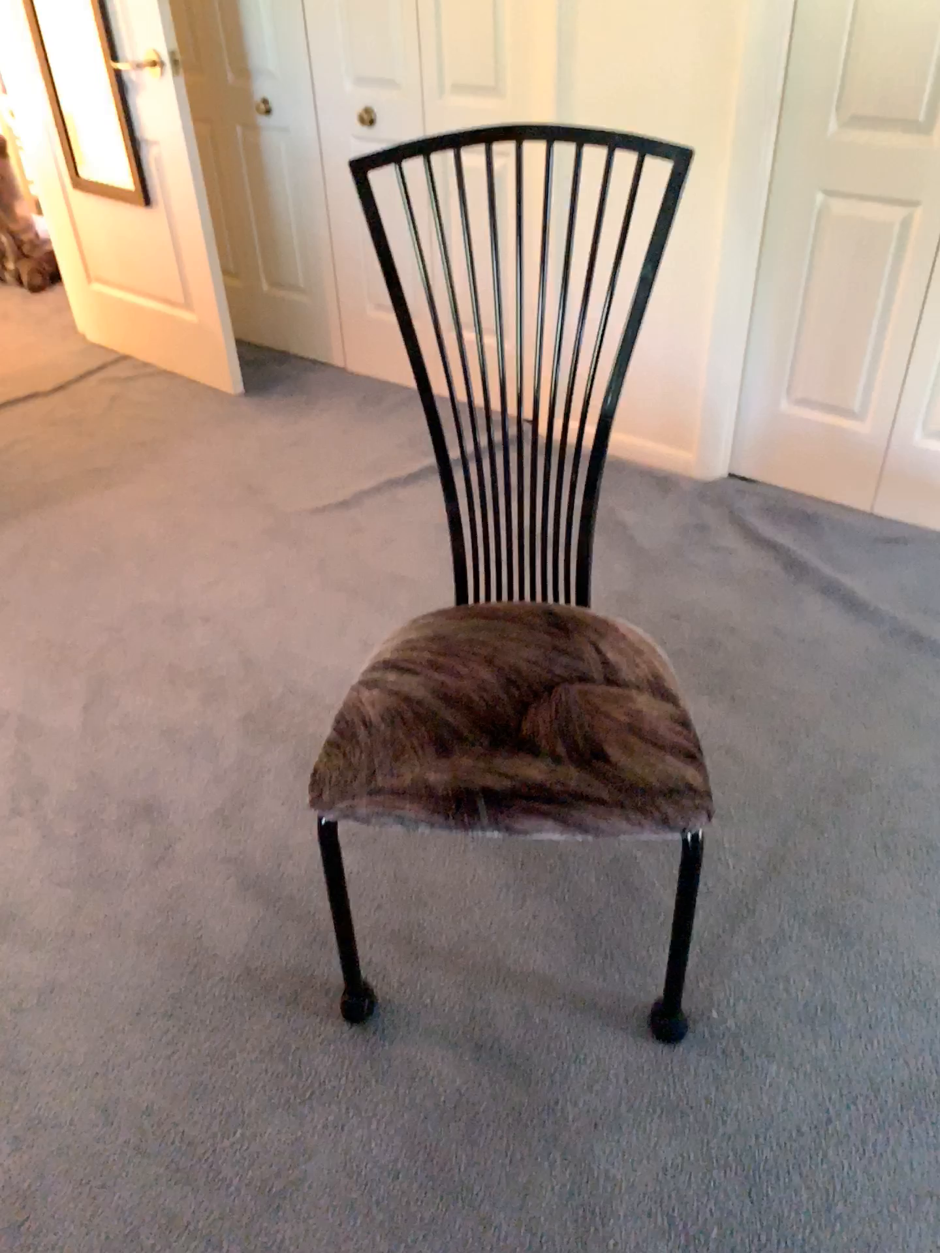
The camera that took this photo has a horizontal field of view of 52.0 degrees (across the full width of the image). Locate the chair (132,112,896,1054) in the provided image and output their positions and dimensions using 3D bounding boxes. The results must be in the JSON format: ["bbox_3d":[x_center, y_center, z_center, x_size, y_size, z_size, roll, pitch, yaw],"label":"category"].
[{"bbox_3d":[0.054,-0.012,1.153,0.510,0.974,0.543,0,37,4],"label":"chair"}]
